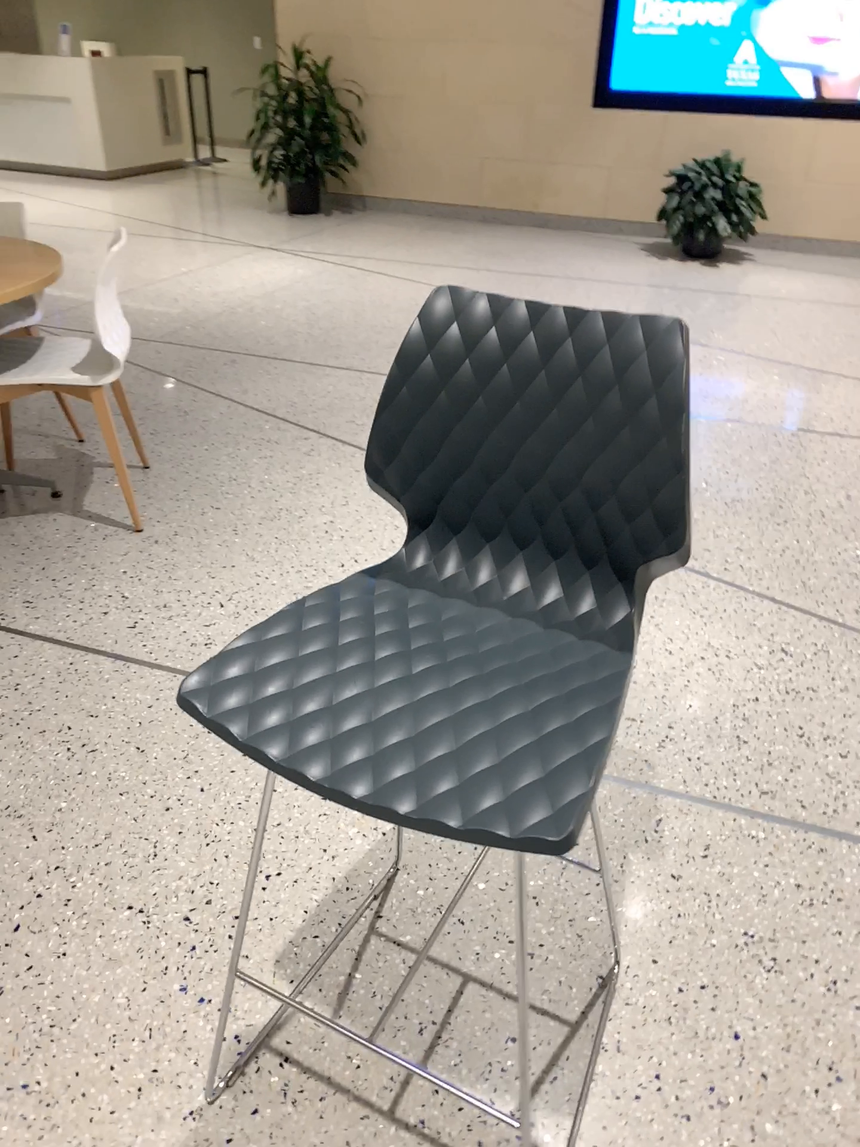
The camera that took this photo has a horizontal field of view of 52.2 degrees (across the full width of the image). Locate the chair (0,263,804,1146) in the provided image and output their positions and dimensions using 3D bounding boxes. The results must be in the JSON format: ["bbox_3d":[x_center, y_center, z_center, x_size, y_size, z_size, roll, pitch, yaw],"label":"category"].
[{"bbox_3d":[0.003,0.227,1.052,0.535,0.996,0.535,17,34,24],"label":"chair"}]
